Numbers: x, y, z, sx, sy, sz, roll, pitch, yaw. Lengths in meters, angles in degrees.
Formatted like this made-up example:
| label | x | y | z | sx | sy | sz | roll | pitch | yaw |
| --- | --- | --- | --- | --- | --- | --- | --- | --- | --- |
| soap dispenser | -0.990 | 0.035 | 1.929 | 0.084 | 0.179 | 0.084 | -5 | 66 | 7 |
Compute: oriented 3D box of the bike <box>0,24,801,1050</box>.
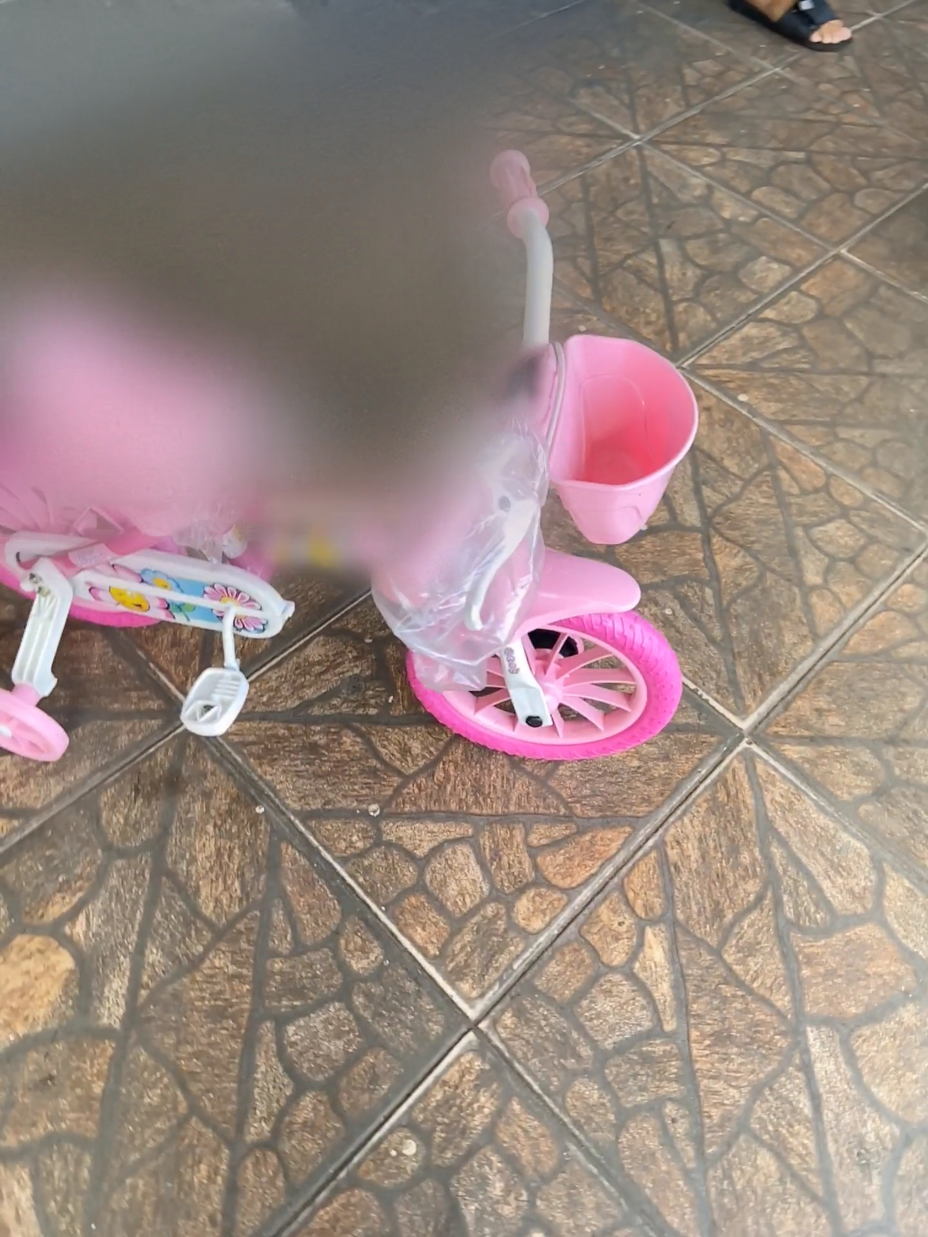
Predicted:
| label | x | y | z | sx | sy | sz | roll | pitch | yaw |
| --- | --- | --- | --- | --- | --- | --- | --- | --- | --- |
| bike | -0.181 | -0.062 | 0.882 | 0.792 | 0.563 | 0.513 | 15 | 55 | 7 |
